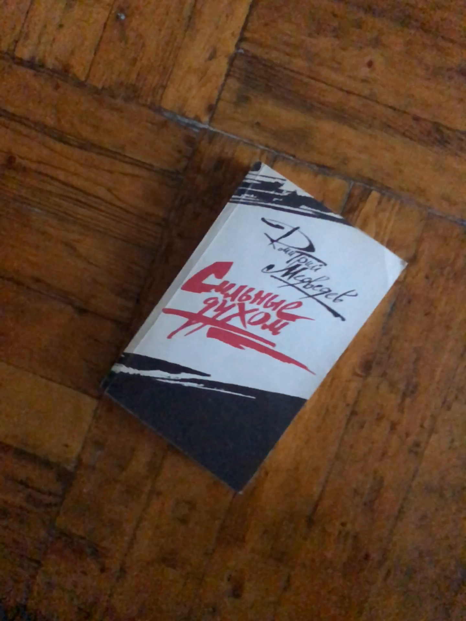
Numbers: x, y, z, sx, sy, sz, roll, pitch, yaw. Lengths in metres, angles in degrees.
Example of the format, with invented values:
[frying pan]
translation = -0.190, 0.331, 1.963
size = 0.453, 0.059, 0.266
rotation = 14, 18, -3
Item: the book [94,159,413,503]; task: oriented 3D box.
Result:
[book]
translation = 0.014, 0.015, 0.402
size = 0.140, 0.050, 0.210
rotation = 34, 92, 2
